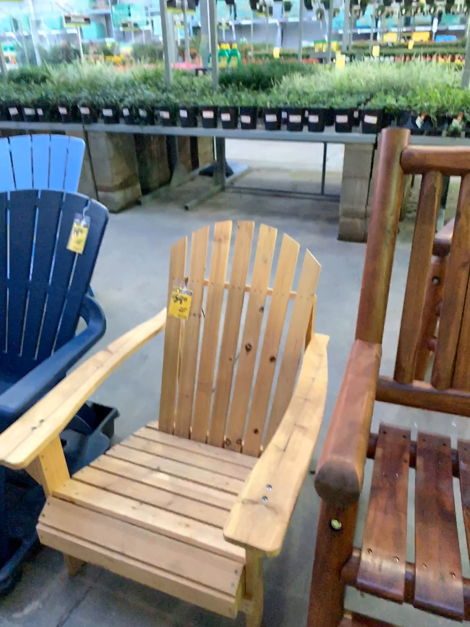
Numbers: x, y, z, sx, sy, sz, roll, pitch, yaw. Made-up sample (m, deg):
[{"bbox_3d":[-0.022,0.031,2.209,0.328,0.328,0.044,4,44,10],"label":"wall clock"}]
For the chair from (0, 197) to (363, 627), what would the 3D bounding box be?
[{"bbox_3d":[-0.114,0.261,1.380,0.728,0.886,0.895,9,32,19],"label":"chair"}]
